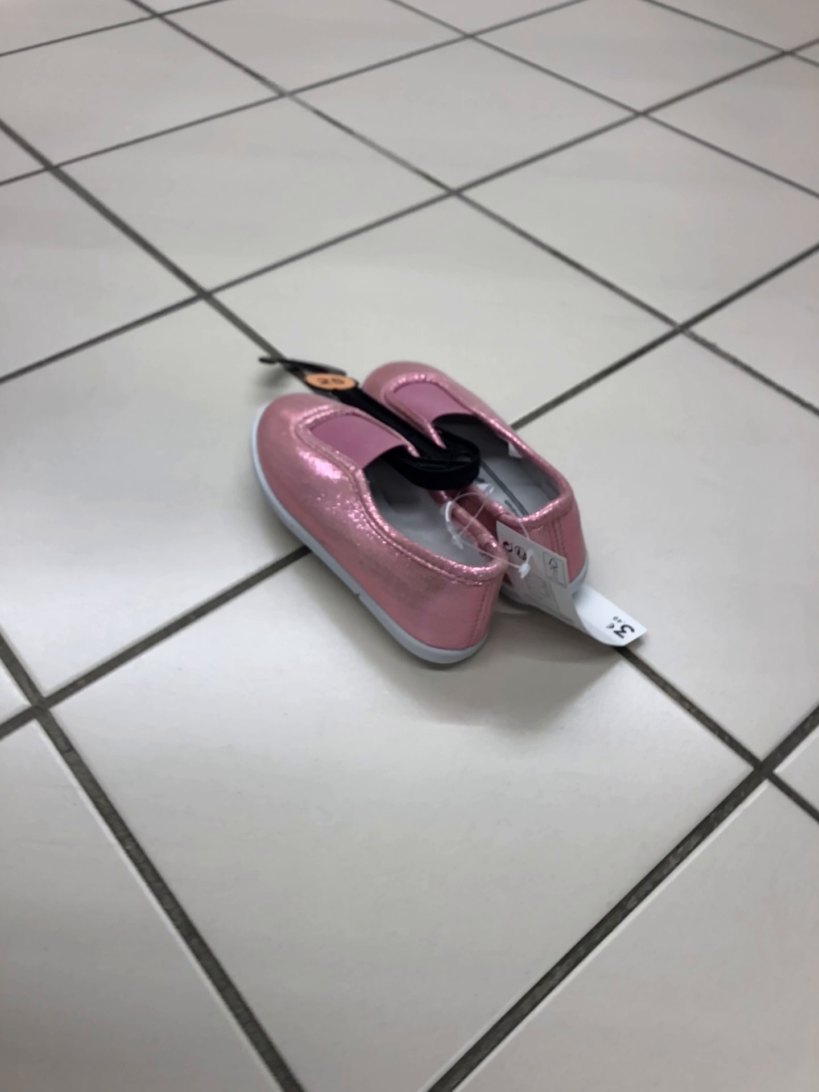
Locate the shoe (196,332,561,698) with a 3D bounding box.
[{"bbox_3d":[-0.019,-0.021,0.399,0.070,0.050,0.164,-29,56,-25],"label":"shoe"}]

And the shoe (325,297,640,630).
[{"bbox_3d":[0.026,-0.045,0.422,0.059,0.051,0.161,-24,54,-21],"label":"shoe"}]
